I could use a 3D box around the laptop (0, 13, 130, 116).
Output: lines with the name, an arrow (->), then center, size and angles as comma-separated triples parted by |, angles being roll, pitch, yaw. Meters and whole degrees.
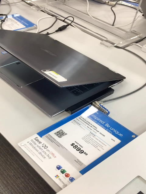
laptop -> -0.081, -0.105, 0.493 | 0.321, 0.075, 0.208 | 38, 58, 26
